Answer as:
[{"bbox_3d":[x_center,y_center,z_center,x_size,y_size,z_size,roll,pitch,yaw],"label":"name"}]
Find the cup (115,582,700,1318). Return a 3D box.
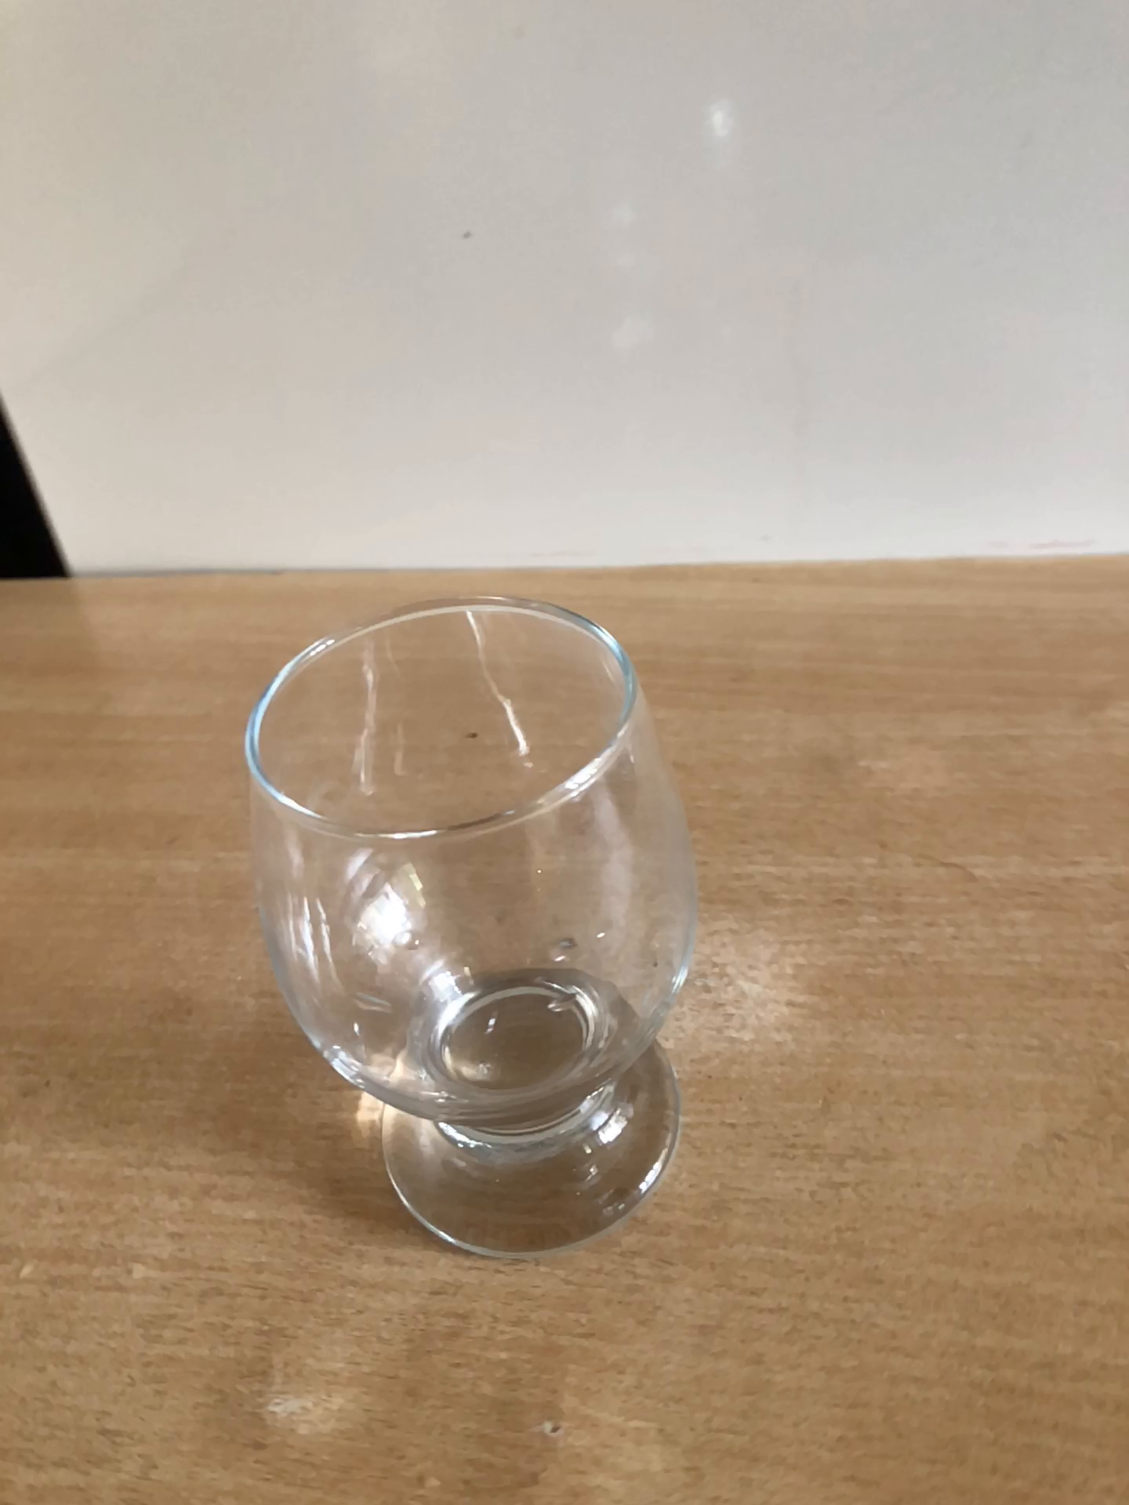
[{"bbox_3d":[-0.015,0.036,0.227,0.074,0.105,0.077,-5,37,4],"label":"cup"}]
